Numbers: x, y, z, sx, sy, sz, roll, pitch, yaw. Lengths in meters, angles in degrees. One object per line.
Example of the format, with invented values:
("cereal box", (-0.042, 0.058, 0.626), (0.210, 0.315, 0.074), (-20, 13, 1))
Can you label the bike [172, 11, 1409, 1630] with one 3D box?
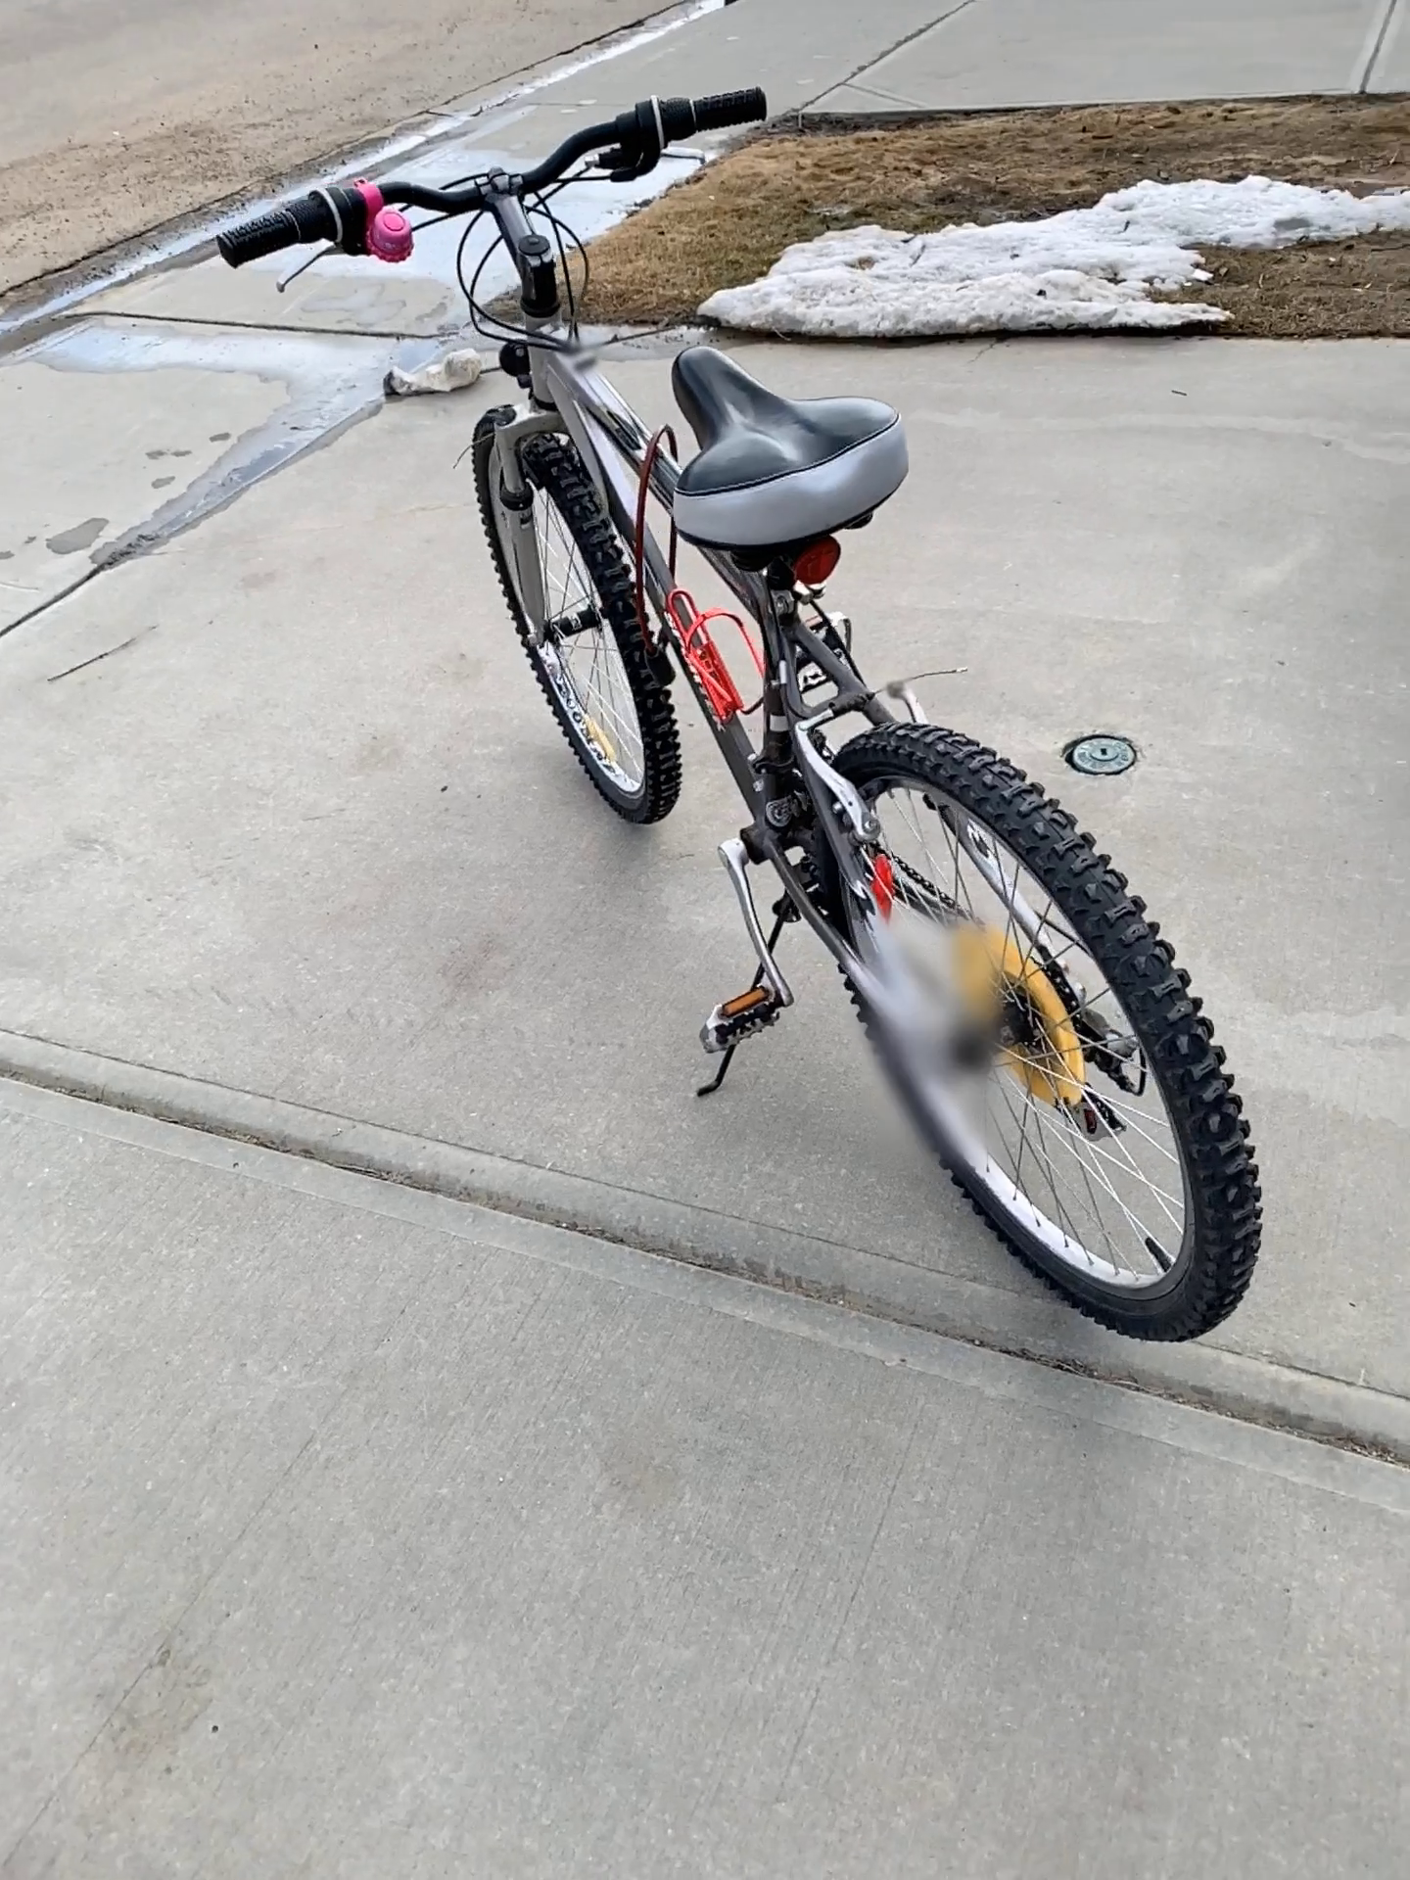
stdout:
("bike", (0.000, -0.303, 1.464), (0.539, 0.825, 1.506), (-21, 45, -18))
